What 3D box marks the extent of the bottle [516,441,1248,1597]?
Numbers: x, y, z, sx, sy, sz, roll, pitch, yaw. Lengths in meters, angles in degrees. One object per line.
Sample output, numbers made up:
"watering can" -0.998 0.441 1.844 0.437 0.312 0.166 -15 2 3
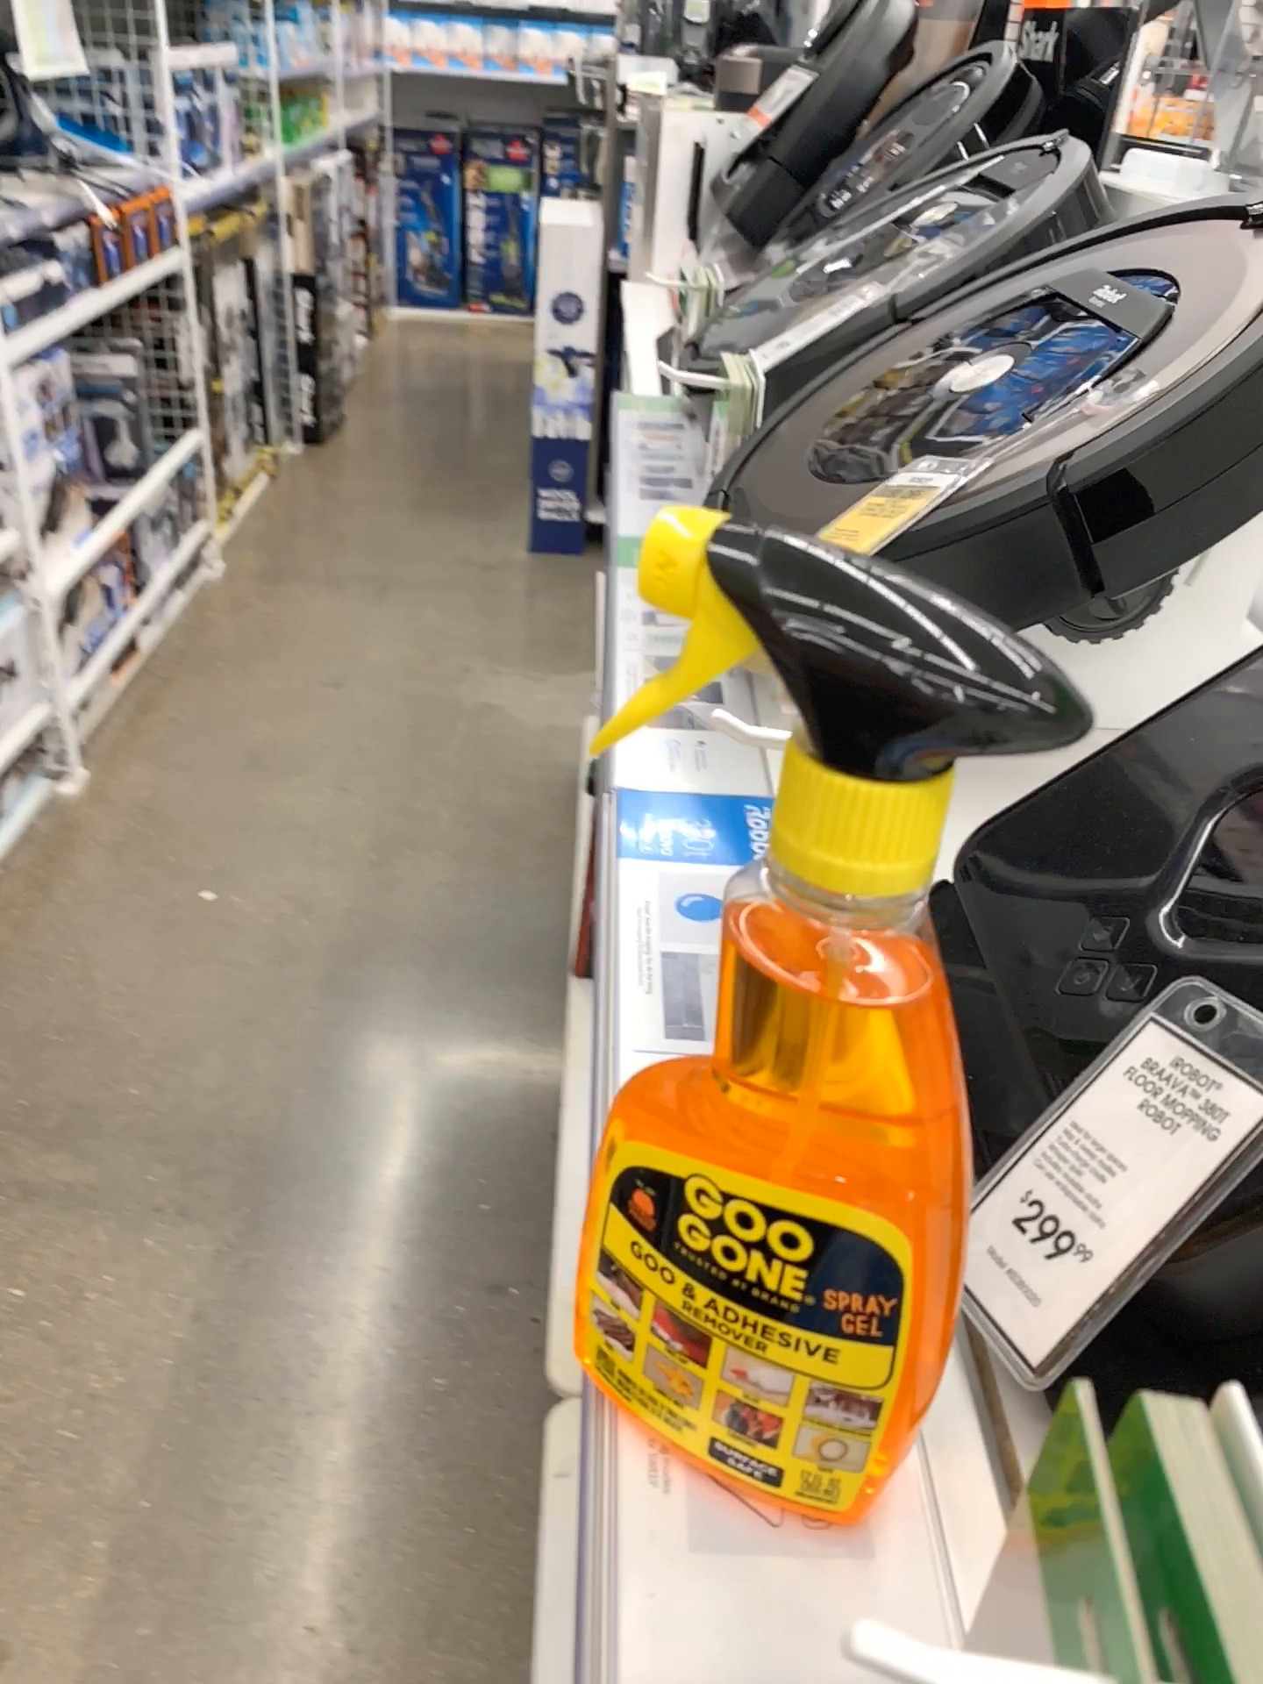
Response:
"bottle" 0.035 0.046 0.268 0.100 0.226 0.050 20 35 23
